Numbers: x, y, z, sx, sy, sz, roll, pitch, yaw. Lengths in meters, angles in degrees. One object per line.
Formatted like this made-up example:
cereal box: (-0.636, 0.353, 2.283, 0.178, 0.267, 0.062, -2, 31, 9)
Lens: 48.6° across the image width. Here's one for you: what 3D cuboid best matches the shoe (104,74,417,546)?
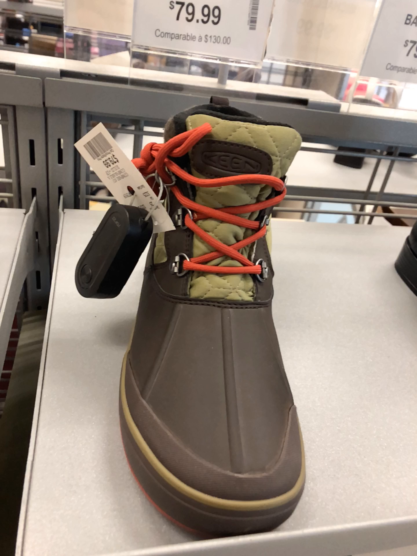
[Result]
shoe: (-0.003, -0.015, 0.278, 0.107, 0.139, 0.262, 2, 33, -14)
